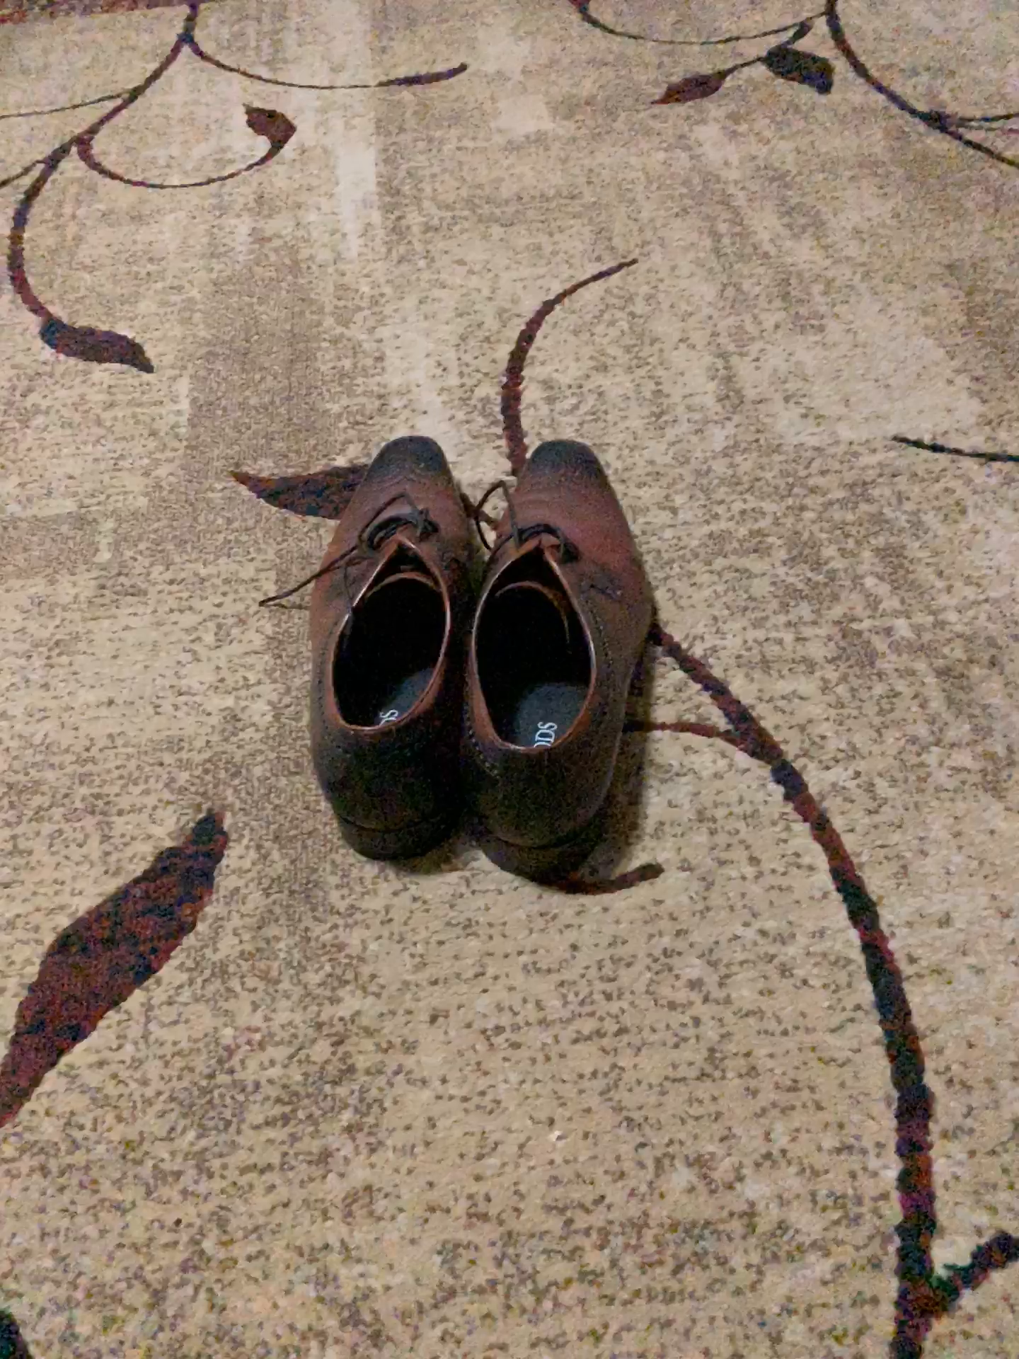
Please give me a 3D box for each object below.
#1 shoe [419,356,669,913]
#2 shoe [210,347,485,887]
[{"bbox_3d":[0.029,-0.037,0.551,0.100,0.115,0.288,2,51,6],"label":"shoe"},{"bbox_3d":[-0.070,-0.045,0.567,0.100,0.115,0.288,-2,51,3],"label":"shoe"}]
